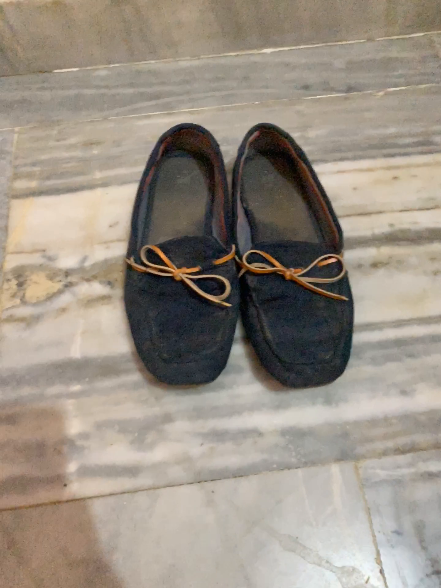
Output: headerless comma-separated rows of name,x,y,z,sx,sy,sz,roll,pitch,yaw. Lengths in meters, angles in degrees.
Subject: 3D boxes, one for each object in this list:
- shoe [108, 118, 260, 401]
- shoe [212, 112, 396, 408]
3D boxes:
shoe,-0.036,-0.044,0.449,0.120,0.070,0.280,-3,64,-1
shoe,0.067,-0.047,0.463,0.120,0.070,0.300,-6,64,-3
